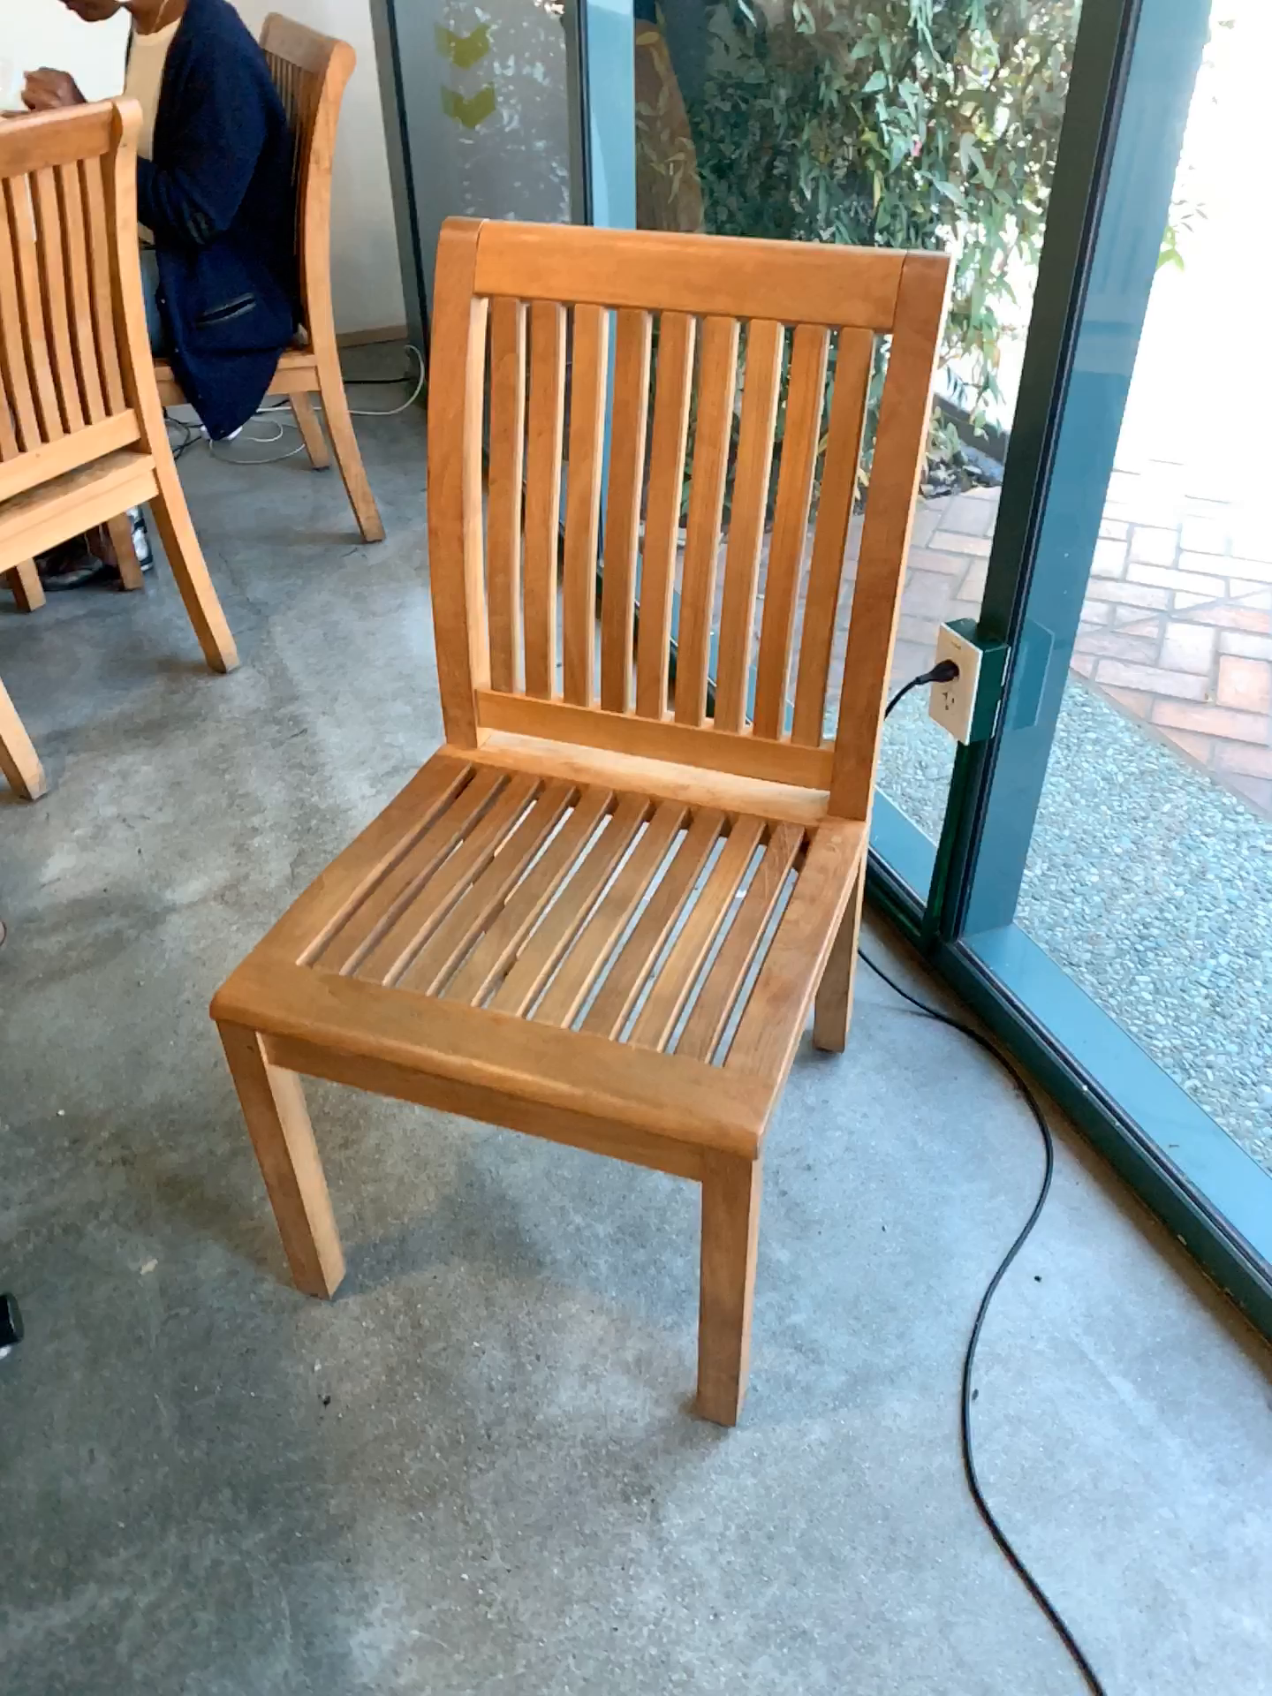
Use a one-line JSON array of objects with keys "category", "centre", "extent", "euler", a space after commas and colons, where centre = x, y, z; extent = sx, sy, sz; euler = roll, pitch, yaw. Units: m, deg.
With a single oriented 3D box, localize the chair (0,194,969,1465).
[{"category": "chair", "centre": [-0.068, -0.027, 1.214], "extent": [0.531, 0.914, 0.613], "euler": [12, 39, 16]}]
